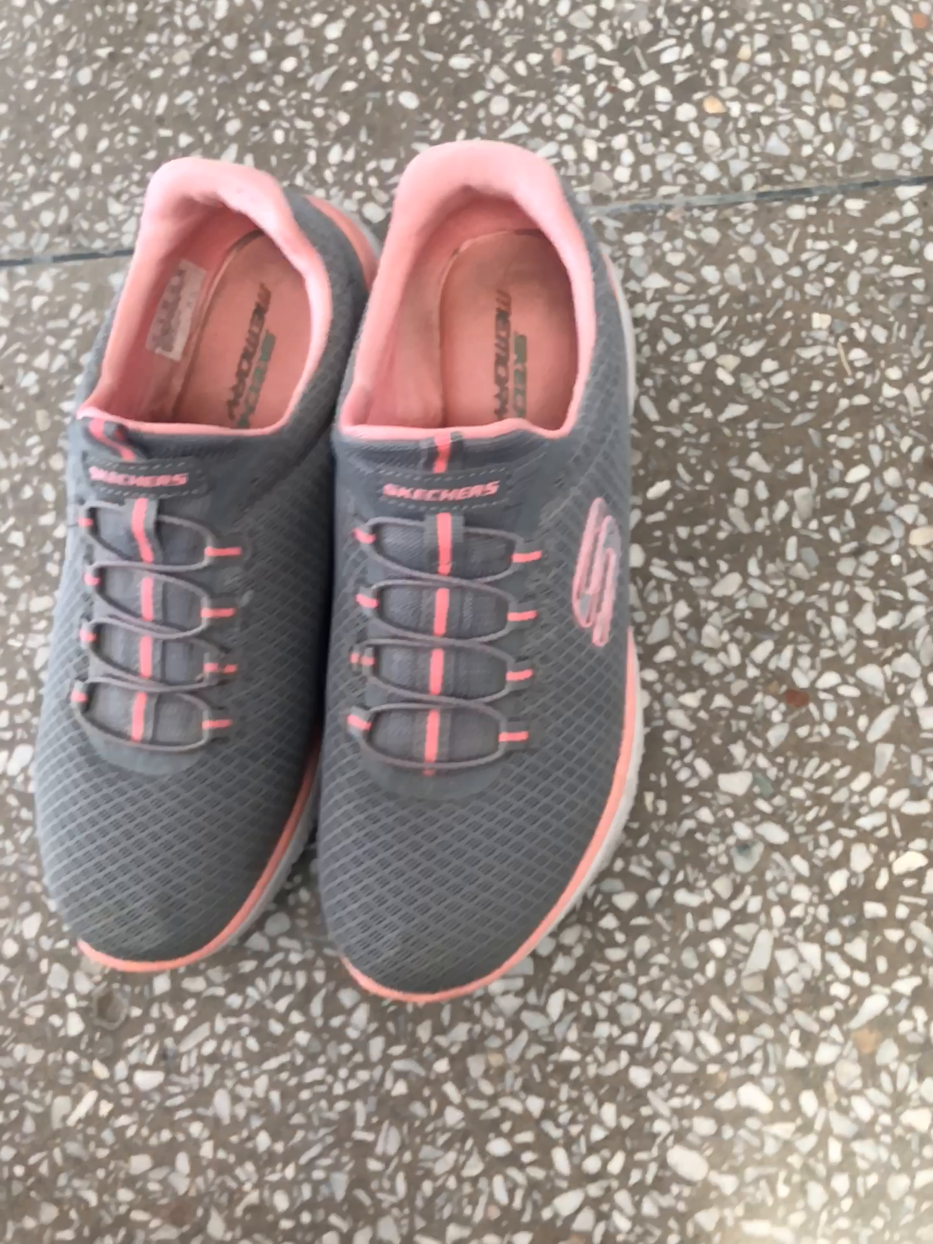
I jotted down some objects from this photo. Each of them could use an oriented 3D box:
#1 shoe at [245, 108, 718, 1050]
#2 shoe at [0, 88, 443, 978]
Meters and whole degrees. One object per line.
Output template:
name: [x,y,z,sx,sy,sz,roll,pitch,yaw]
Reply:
shoe: [0.012,-0.013,0.308,0.090,0.100,0.230,6,82,9]
shoe: [-0.075,-0.026,0.332,0.090,0.100,0.240,6,82,9]
